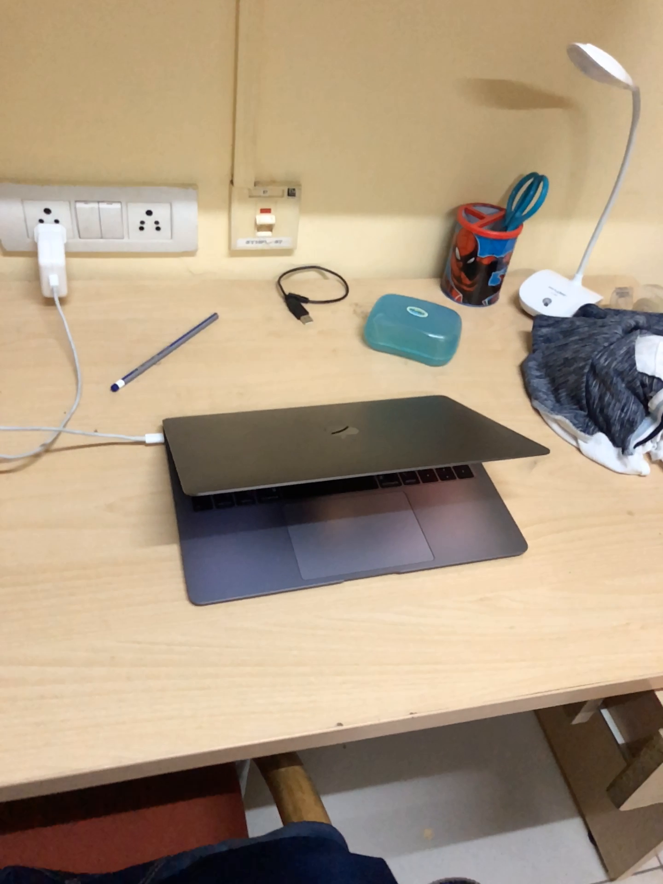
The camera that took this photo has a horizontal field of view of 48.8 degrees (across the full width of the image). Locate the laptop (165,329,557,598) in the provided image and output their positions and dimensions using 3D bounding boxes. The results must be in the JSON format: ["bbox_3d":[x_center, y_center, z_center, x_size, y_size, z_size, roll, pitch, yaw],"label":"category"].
[{"bbox_3d":[0.013,0.005,0.649,0.294,0.094,0.193,-6,46,-16],"label":"laptop"}]
